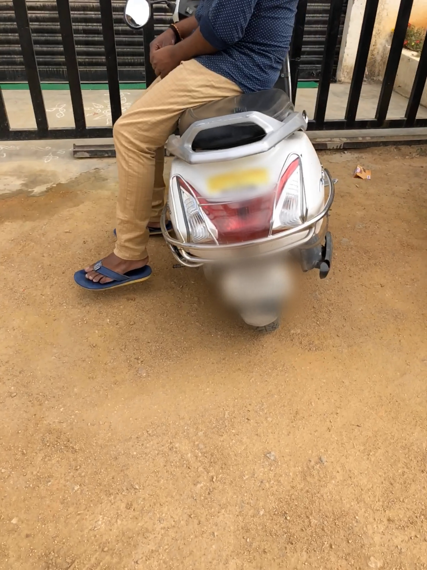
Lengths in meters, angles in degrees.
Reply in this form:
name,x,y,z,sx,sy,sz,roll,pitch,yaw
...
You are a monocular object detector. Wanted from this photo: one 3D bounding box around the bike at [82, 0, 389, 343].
name,x,y,z,sx,sy,sz,roll,pitch,yaw
bike,-0.036,-0.748,1.952,0.650,1.069,1.654,-2,38,-5
